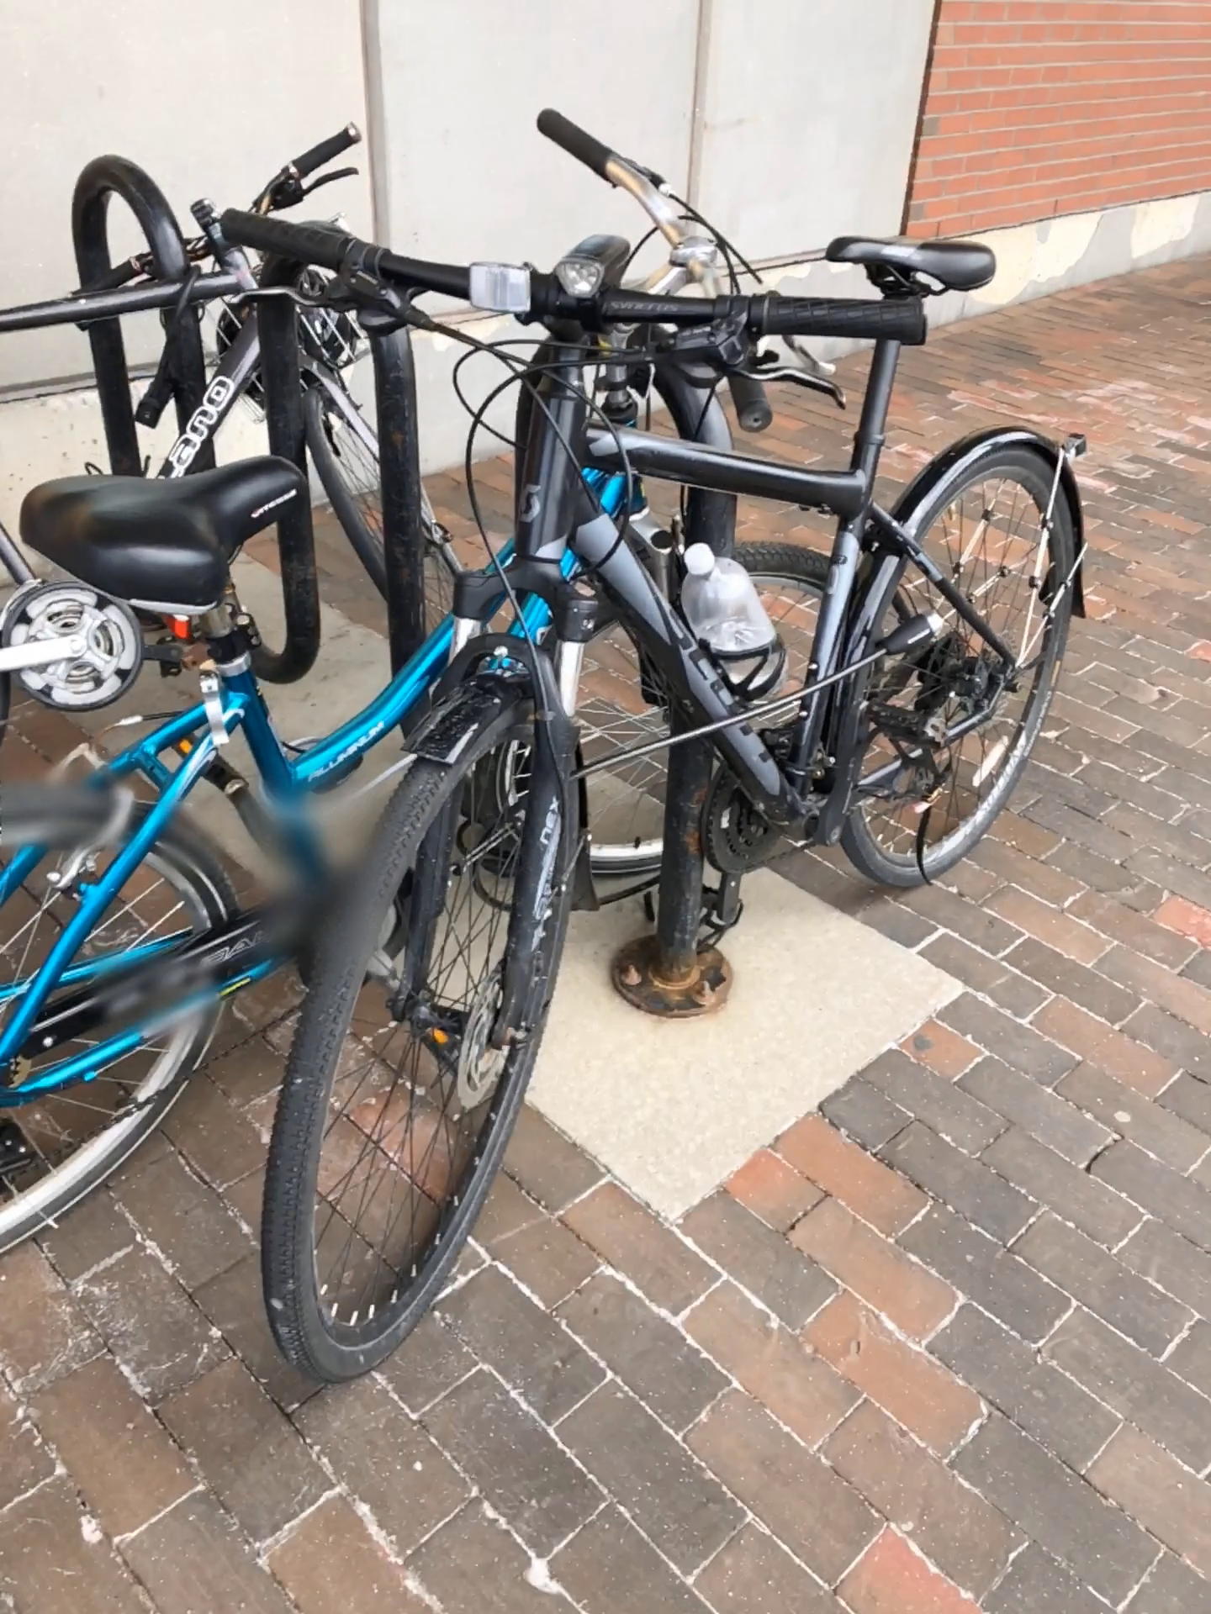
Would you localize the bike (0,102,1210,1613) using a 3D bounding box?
[{"bbox_3d":[0.152,-0.108,1.451,0.673,0.939,1.517,25,42,29],"label":"bike"}]
